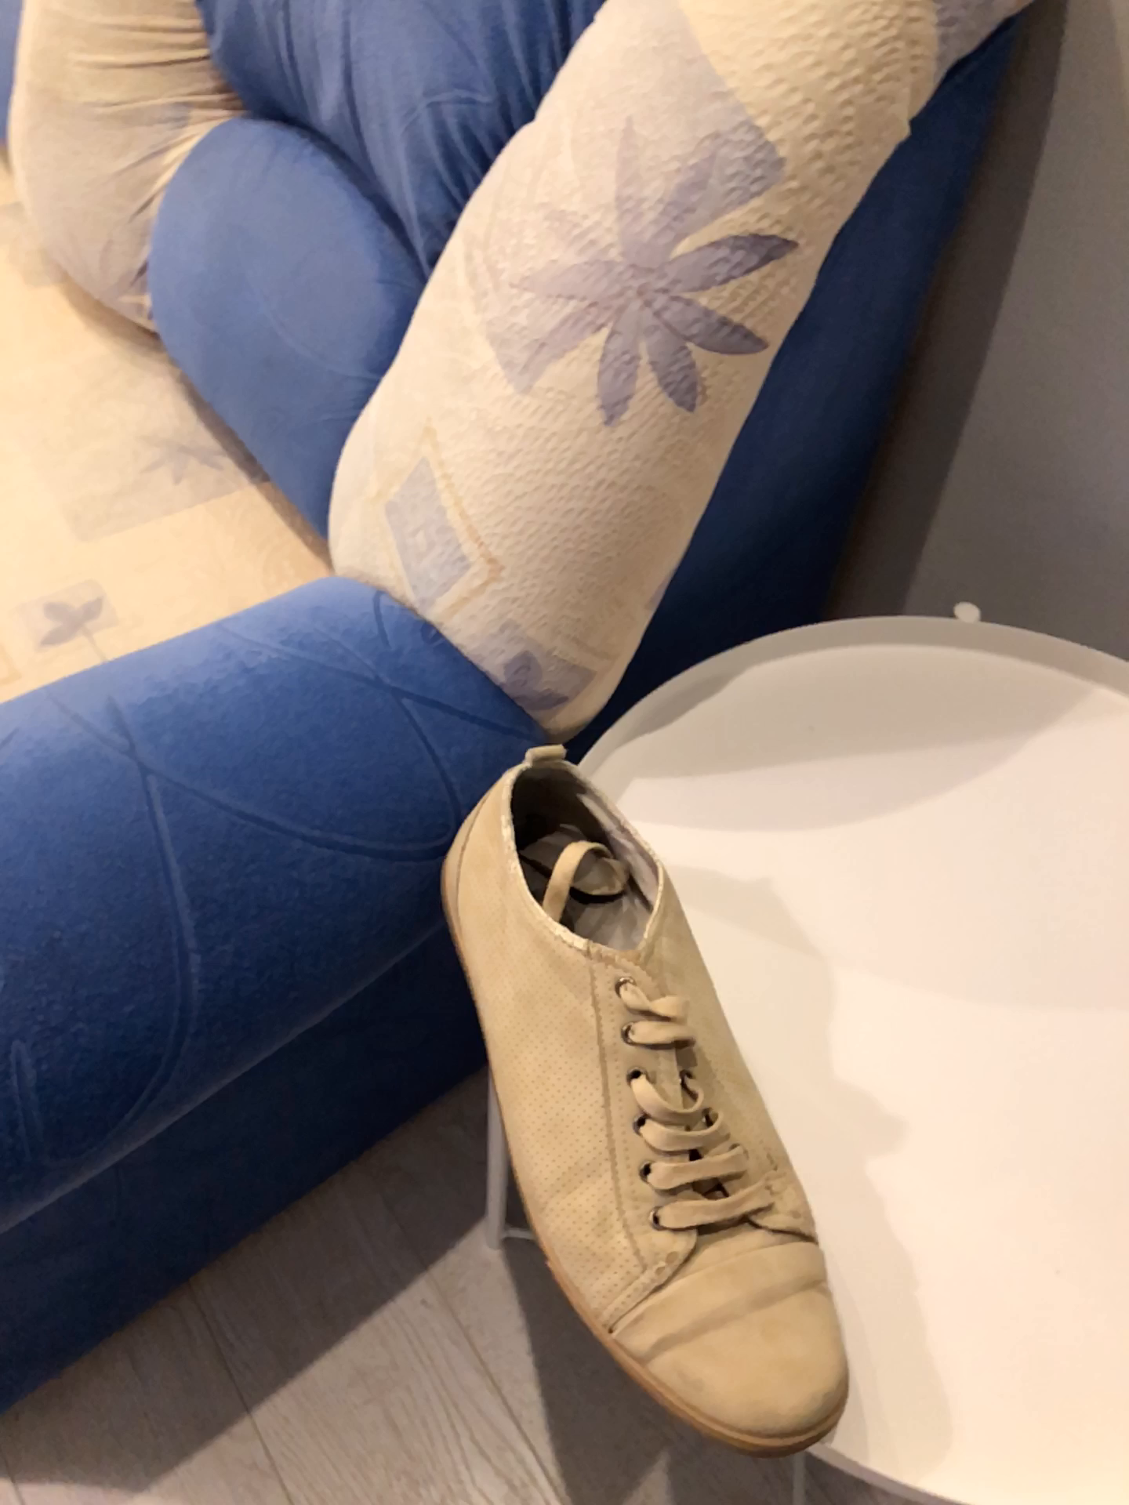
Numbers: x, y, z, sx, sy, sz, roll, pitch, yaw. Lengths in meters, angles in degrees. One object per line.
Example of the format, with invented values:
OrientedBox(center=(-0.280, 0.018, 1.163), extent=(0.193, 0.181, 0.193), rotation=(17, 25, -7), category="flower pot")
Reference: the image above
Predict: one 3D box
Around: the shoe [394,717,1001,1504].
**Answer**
OrientedBox(center=(0.032, 0.124, 0.492), extent=(0.110, 0.070, 0.281), rotation=(-16, 55, -19), category="shoe")
